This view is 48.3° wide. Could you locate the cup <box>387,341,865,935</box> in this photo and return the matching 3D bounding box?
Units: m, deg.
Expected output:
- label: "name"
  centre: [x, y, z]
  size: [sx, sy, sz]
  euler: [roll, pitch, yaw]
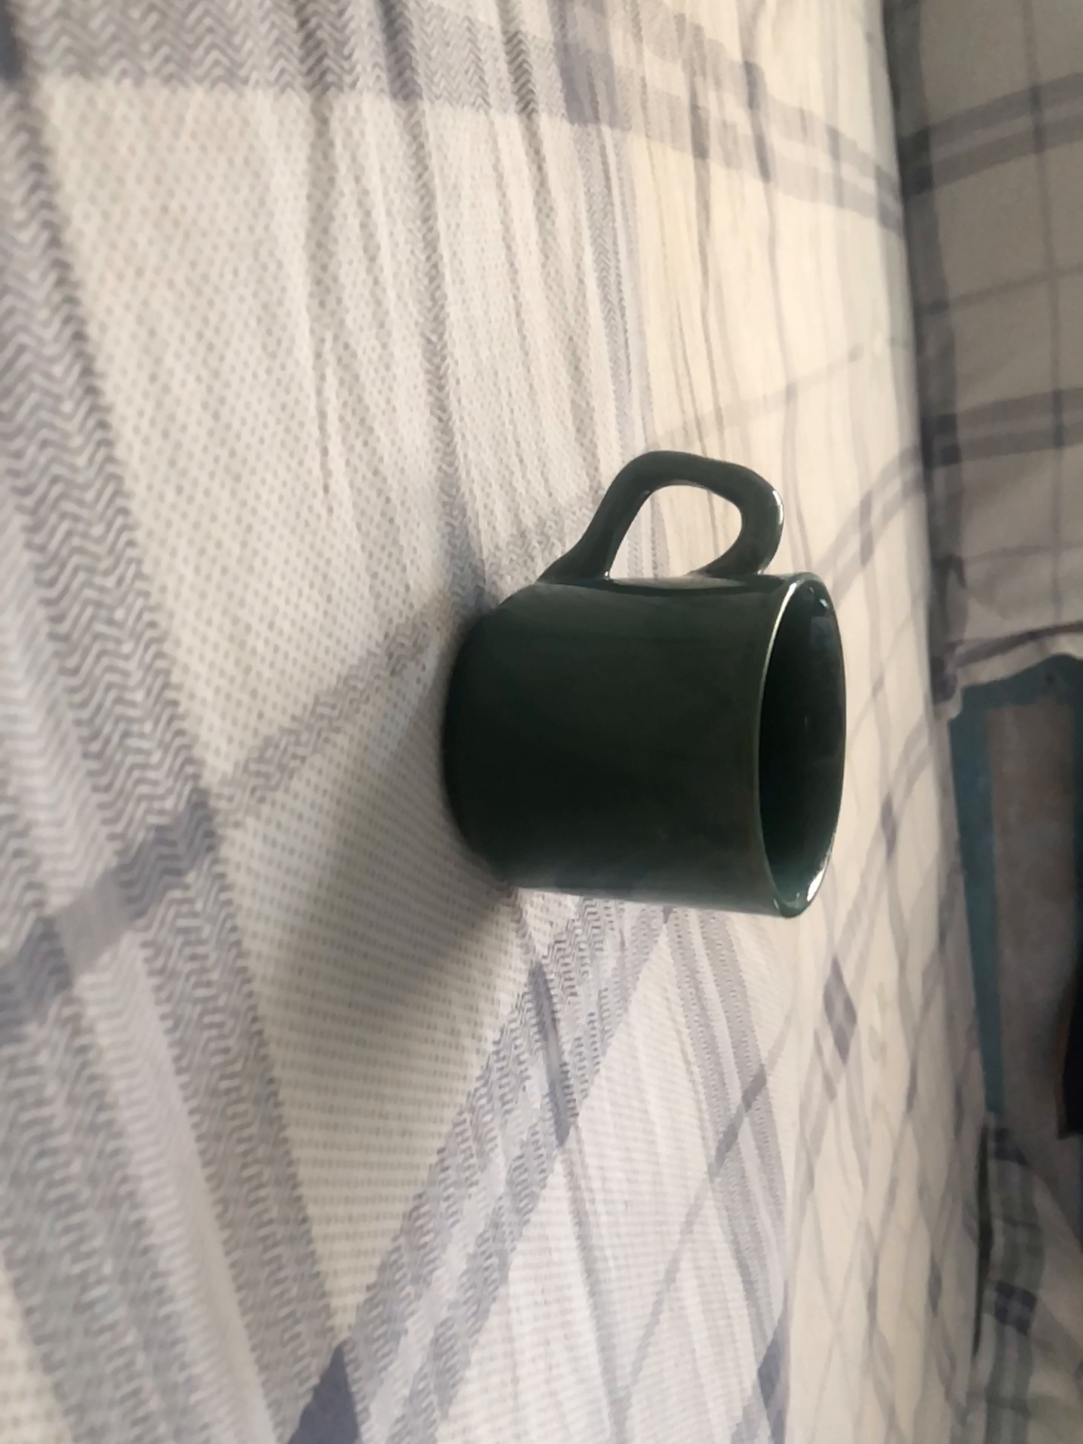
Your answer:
- label: "cup"
  centre: [0.022, -0.010, 0.222]
  size: [0.070, 0.060, 0.080]
  euler: [49, 45, -56]
